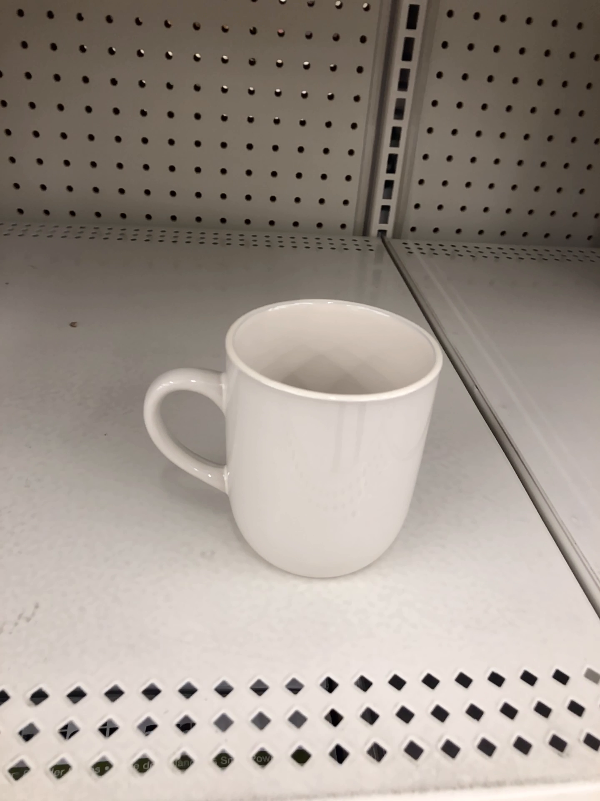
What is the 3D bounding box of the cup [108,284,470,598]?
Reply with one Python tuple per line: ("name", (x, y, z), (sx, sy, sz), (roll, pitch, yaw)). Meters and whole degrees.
("cup", (-0.005, 0.014, 0.281), (0.121, 0.090, 0.087), (4, 30, 0))
